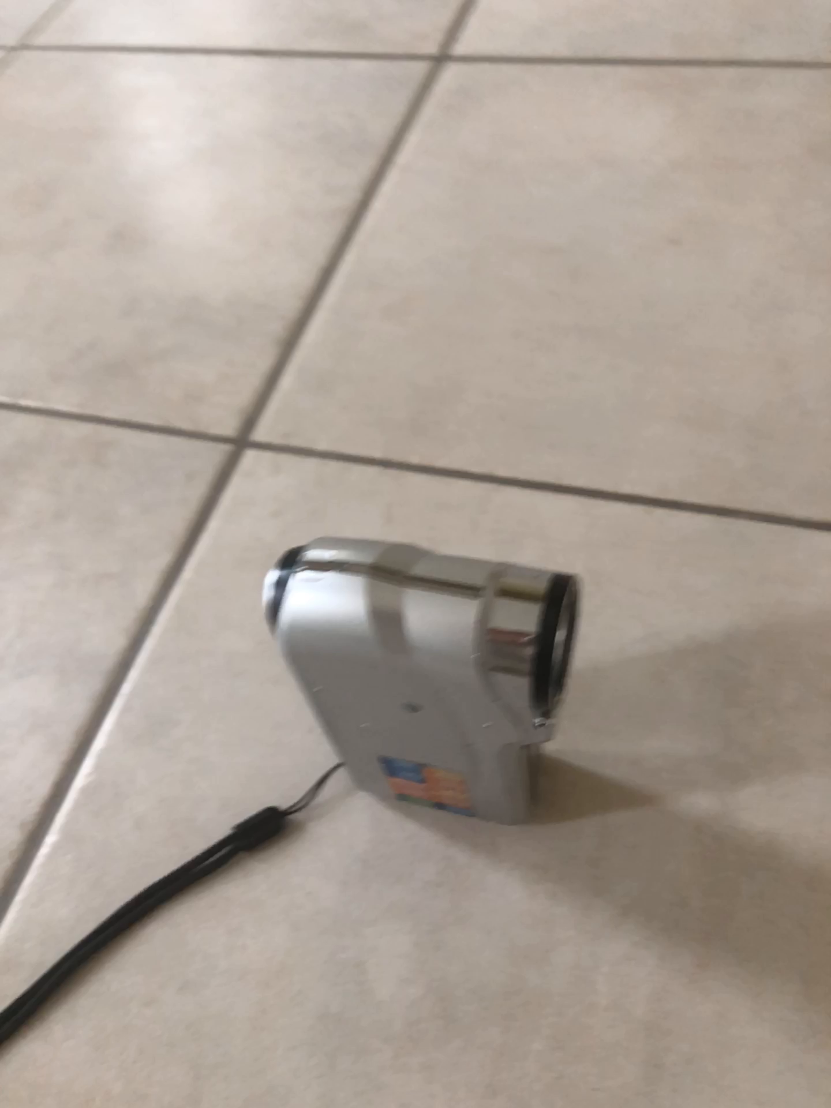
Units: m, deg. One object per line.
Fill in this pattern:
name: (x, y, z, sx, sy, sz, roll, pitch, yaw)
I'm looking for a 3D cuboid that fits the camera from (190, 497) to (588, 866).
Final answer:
camera: (0.002, 0.038, 0.246, 0.080, 0.110, 0.040, 7, 57, 15)
